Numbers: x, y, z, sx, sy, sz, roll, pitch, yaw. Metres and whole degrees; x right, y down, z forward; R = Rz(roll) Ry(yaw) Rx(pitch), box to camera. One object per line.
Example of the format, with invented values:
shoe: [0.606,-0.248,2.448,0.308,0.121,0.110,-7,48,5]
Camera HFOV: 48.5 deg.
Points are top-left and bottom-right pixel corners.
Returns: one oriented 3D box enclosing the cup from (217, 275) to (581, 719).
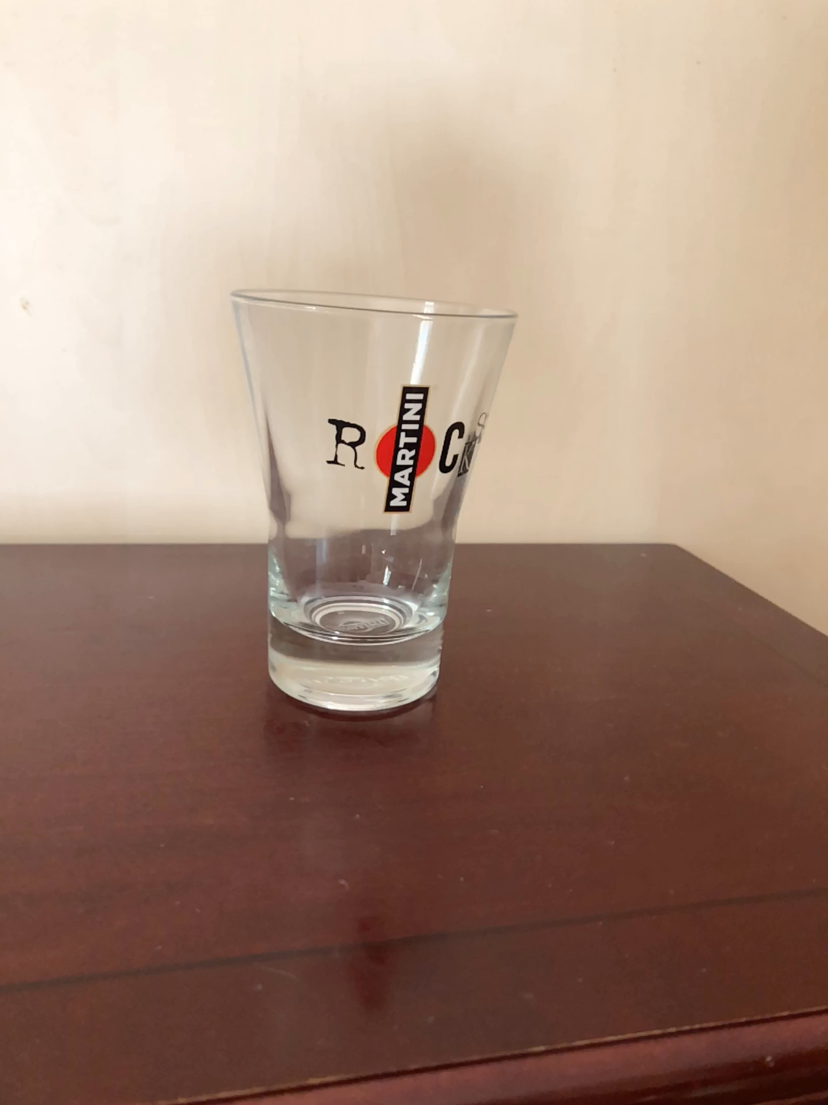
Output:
cup: [-0.014,-0.024,0.295,0.094,0.118,0.094,4,17,-1]
